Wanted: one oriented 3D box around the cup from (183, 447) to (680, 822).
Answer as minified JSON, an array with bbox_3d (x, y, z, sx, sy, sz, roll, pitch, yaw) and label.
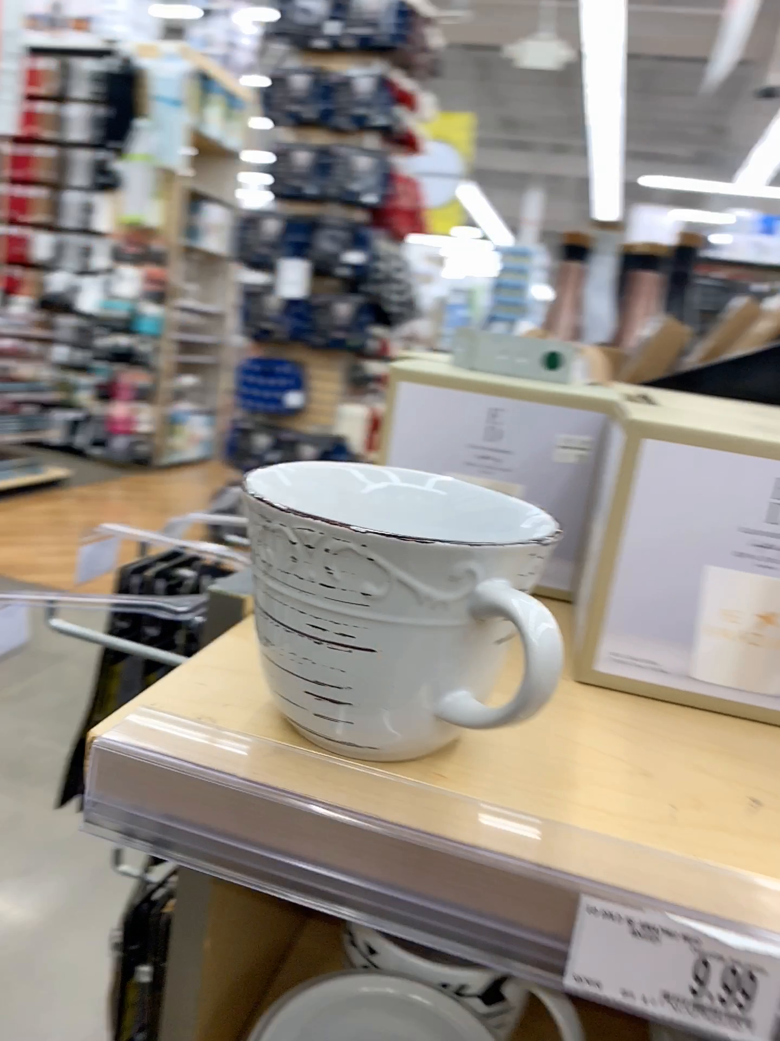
[{"bbox_3d":[0.004,0.026,0.279,0.113,0.075,0.125,8,12,-2],"label":"cup"}]
